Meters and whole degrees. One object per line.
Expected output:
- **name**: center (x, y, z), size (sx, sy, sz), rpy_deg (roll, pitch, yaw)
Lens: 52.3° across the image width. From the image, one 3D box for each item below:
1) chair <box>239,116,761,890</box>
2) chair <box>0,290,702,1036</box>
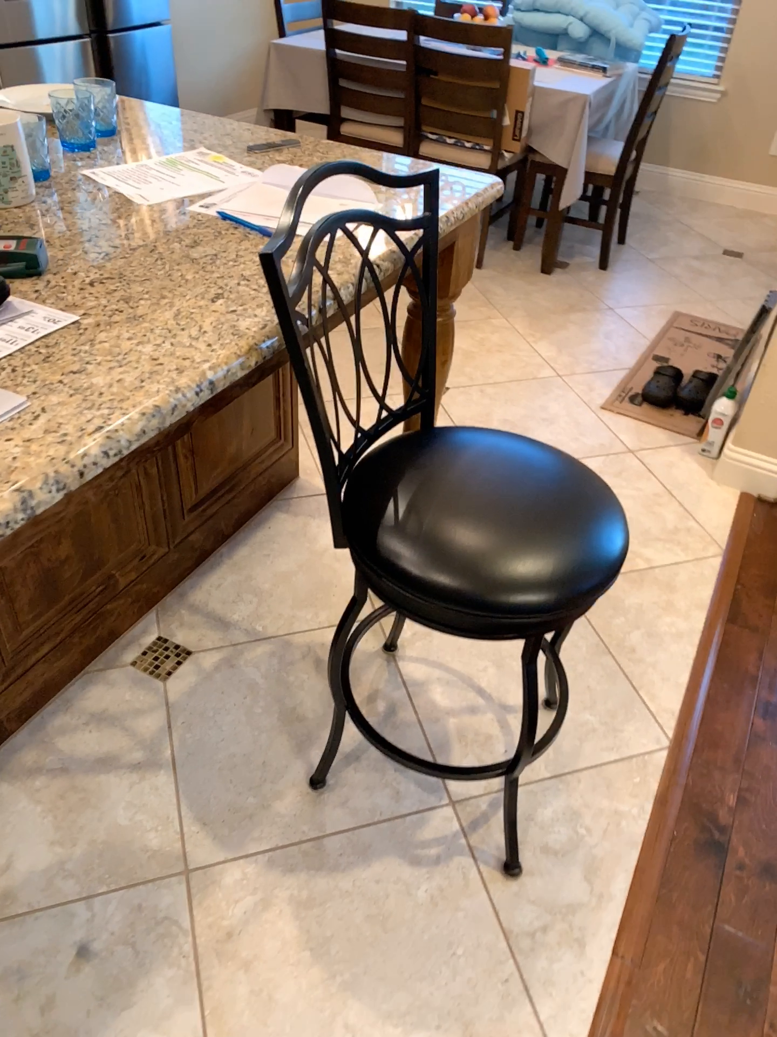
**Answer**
- **chair**: center (0.132, 0.021, 1.275), size (0.505, 1.068, 0.469), rpy_deg (18, 41, 16)
- **chair**: center (-0.331, 0.546, 0.498), size (0.588, 1.098, 0.557), rpy_deg (22, 42, 21)
